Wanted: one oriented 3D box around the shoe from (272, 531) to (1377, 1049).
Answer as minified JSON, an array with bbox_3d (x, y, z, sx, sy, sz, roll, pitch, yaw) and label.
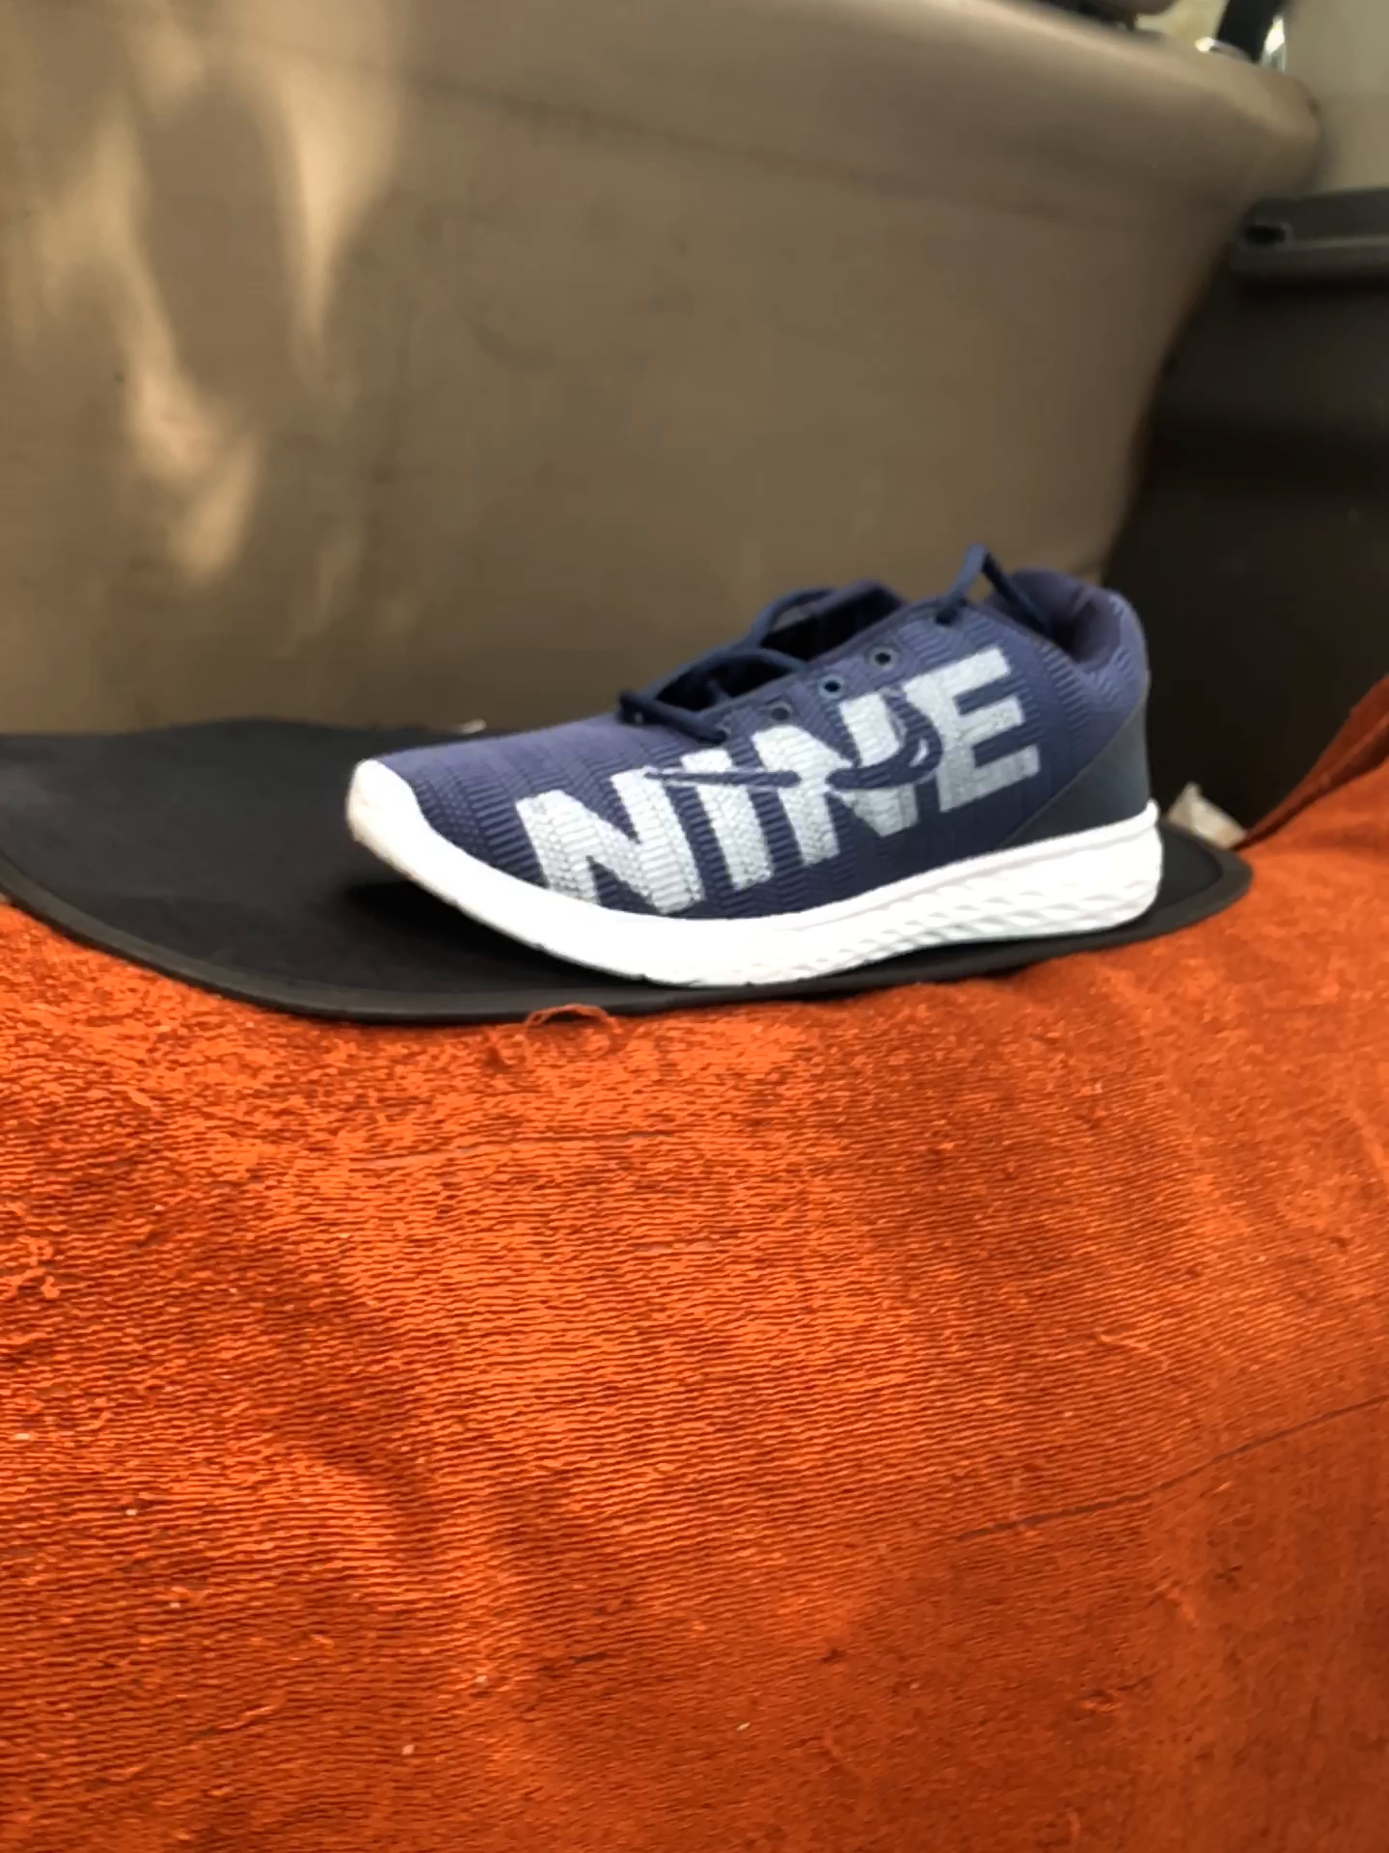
[{"bbox_3d":[0.038,-0.055,0.458,0.291,0.100,0.130,-6,22,-27],"label":"shoe"}]
